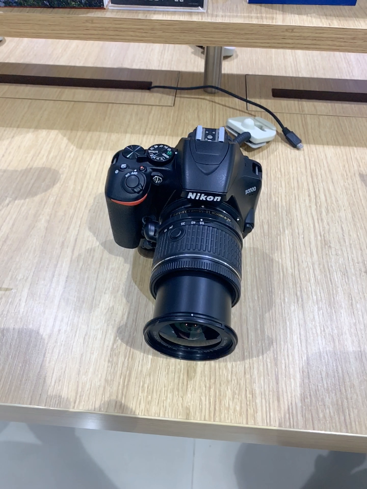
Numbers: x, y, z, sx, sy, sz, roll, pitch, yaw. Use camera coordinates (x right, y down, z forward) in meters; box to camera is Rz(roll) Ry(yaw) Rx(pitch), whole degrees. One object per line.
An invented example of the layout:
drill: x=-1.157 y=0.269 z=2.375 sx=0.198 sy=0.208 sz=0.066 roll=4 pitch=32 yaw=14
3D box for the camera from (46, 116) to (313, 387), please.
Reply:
camera: x=0.002 y=0.003 z=0.244 sx=0.115 sy=0.100 sz=0.136 roll=3 pitch=52 yaw=2
